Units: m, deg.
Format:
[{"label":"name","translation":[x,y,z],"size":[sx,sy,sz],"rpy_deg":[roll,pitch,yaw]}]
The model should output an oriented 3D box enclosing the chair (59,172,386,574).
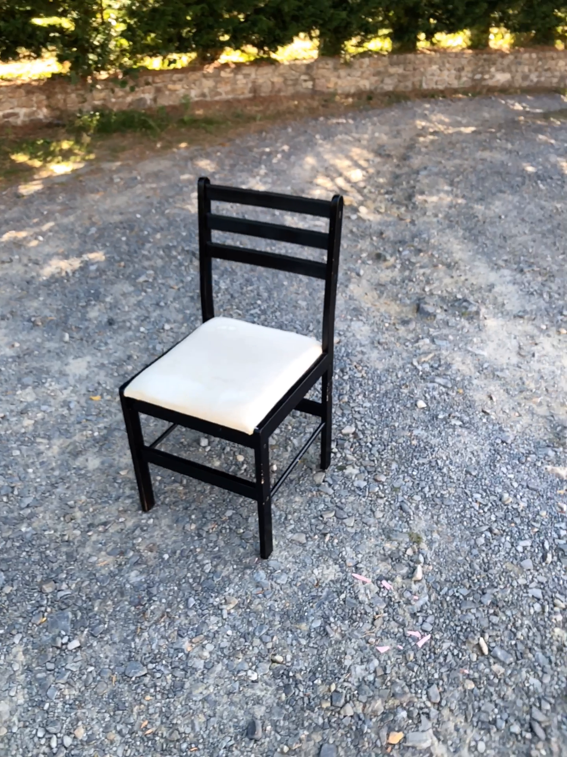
[{"label":"chair","translation":[-0.109,-0.037,1.621],"size":[0.540,0.775,0.533],"rpy_deg":[15,37,20]}]
